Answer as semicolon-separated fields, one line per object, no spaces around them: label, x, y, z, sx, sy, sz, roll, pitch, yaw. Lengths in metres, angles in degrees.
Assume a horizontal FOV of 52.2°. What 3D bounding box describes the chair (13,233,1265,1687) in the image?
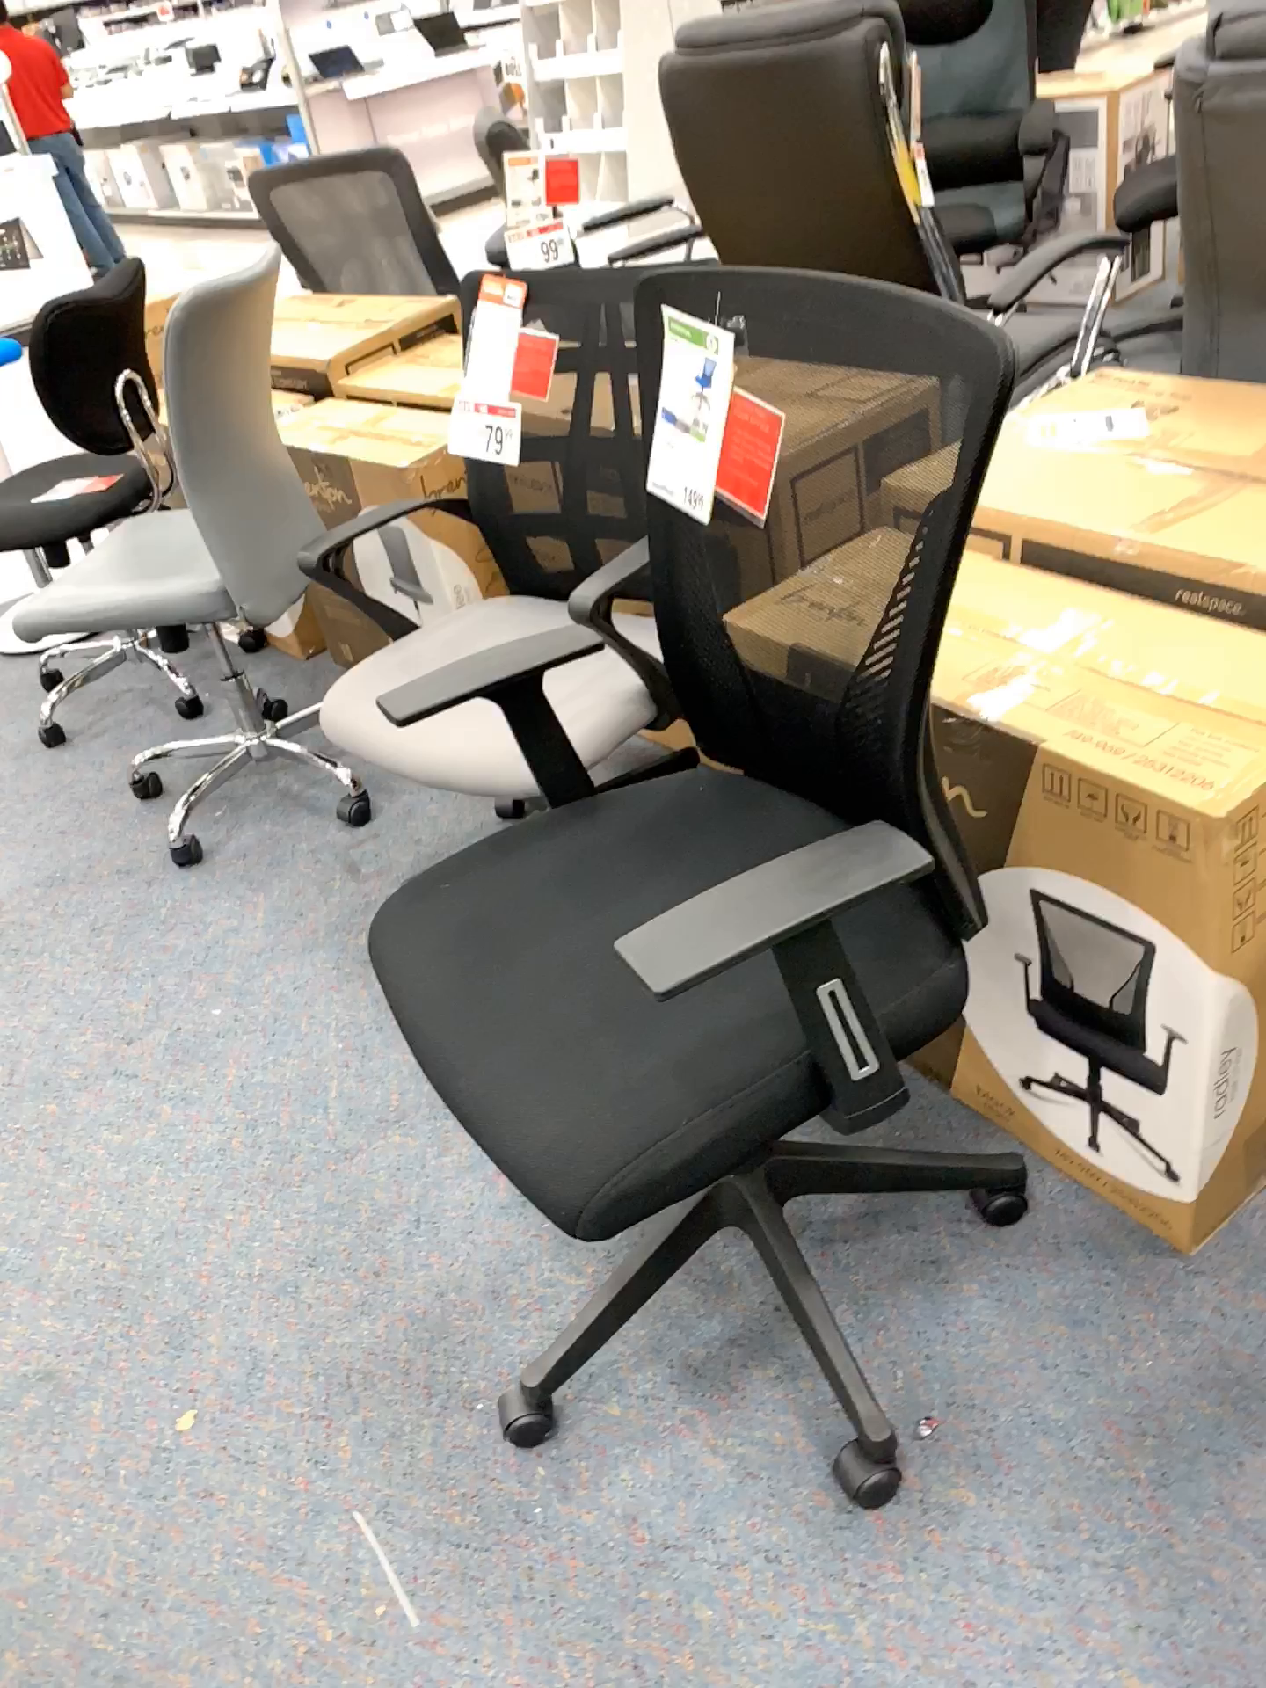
chair;0.021;0.061;1.208;0.678;0.974;0.685;-26;36;-18

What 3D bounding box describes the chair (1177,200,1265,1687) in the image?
chair;0.855;0.250;0.725;0.708;0.934;0.674;-26;36;-18

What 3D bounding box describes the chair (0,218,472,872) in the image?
chair;-0.859;-0.537;2.420;0.699;0.934;0.714;-1;36;18

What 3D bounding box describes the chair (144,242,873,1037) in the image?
chair;-0.127;-0.347;1.960;0.623;0.874;0.679;22;47;40
